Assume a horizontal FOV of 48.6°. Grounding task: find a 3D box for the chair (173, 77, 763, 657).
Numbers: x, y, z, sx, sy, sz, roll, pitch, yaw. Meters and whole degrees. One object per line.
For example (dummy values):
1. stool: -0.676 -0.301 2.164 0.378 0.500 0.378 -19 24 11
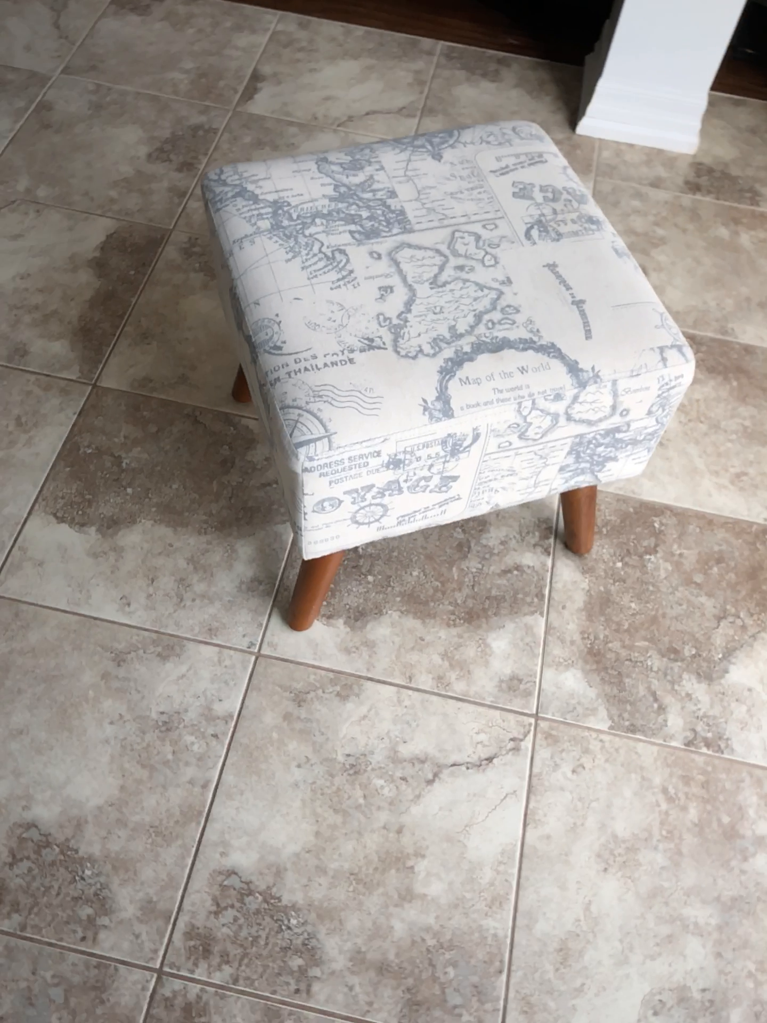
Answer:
1. chair: 0.044 -0.168 0.936 0.420 0.319 0.471 -13 60 -13
